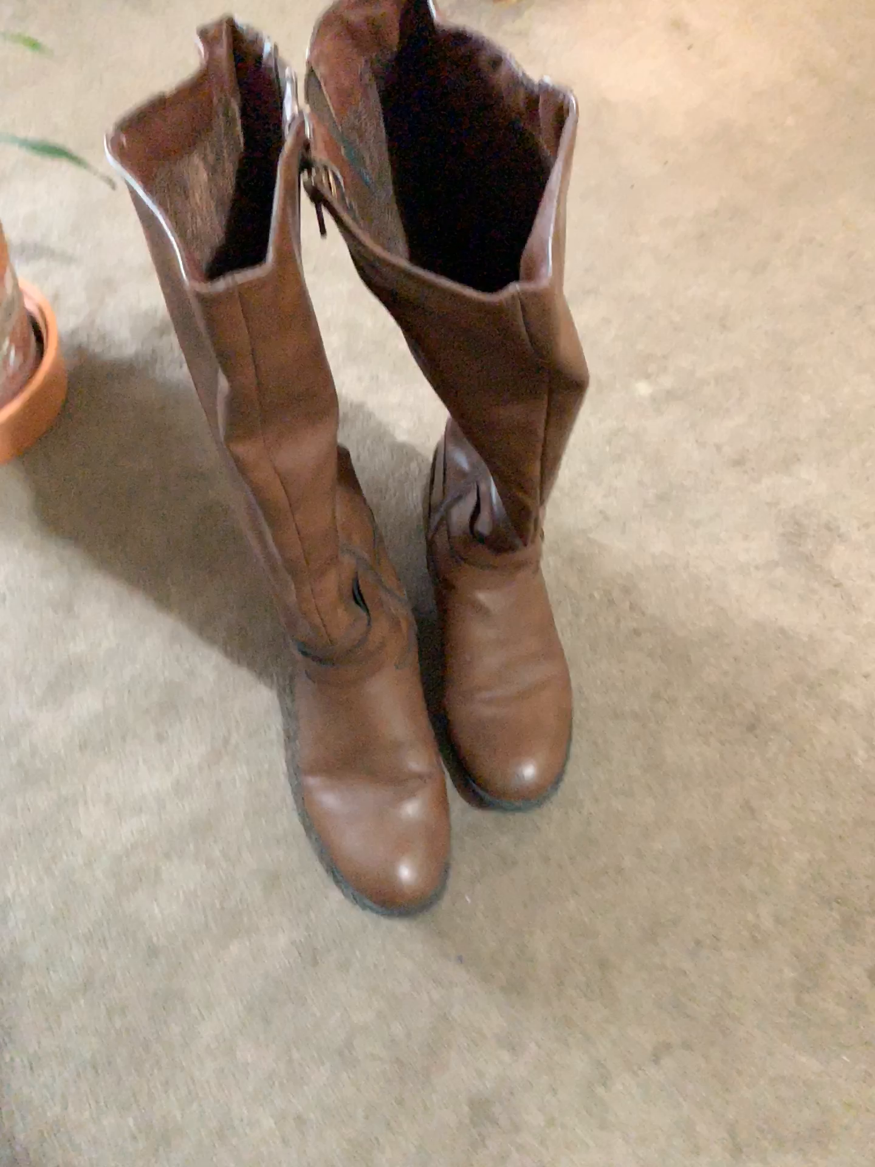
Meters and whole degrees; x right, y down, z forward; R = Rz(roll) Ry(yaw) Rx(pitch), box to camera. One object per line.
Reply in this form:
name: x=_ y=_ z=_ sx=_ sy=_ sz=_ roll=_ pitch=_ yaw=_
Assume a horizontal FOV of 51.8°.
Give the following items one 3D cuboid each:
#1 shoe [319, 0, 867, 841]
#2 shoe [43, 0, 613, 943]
shoe: x=0.032 y=-0.049 z=0.459 sx=0.120 sy=0.398 sz=0.271 roll=-6 pitch=64 yaw=-3
shoe: x=-0.045 y=0.001 z=0.412 sx=0.110 sy=0.368 sz=0.261 roll=-12 pitch=65 yaw=-6
